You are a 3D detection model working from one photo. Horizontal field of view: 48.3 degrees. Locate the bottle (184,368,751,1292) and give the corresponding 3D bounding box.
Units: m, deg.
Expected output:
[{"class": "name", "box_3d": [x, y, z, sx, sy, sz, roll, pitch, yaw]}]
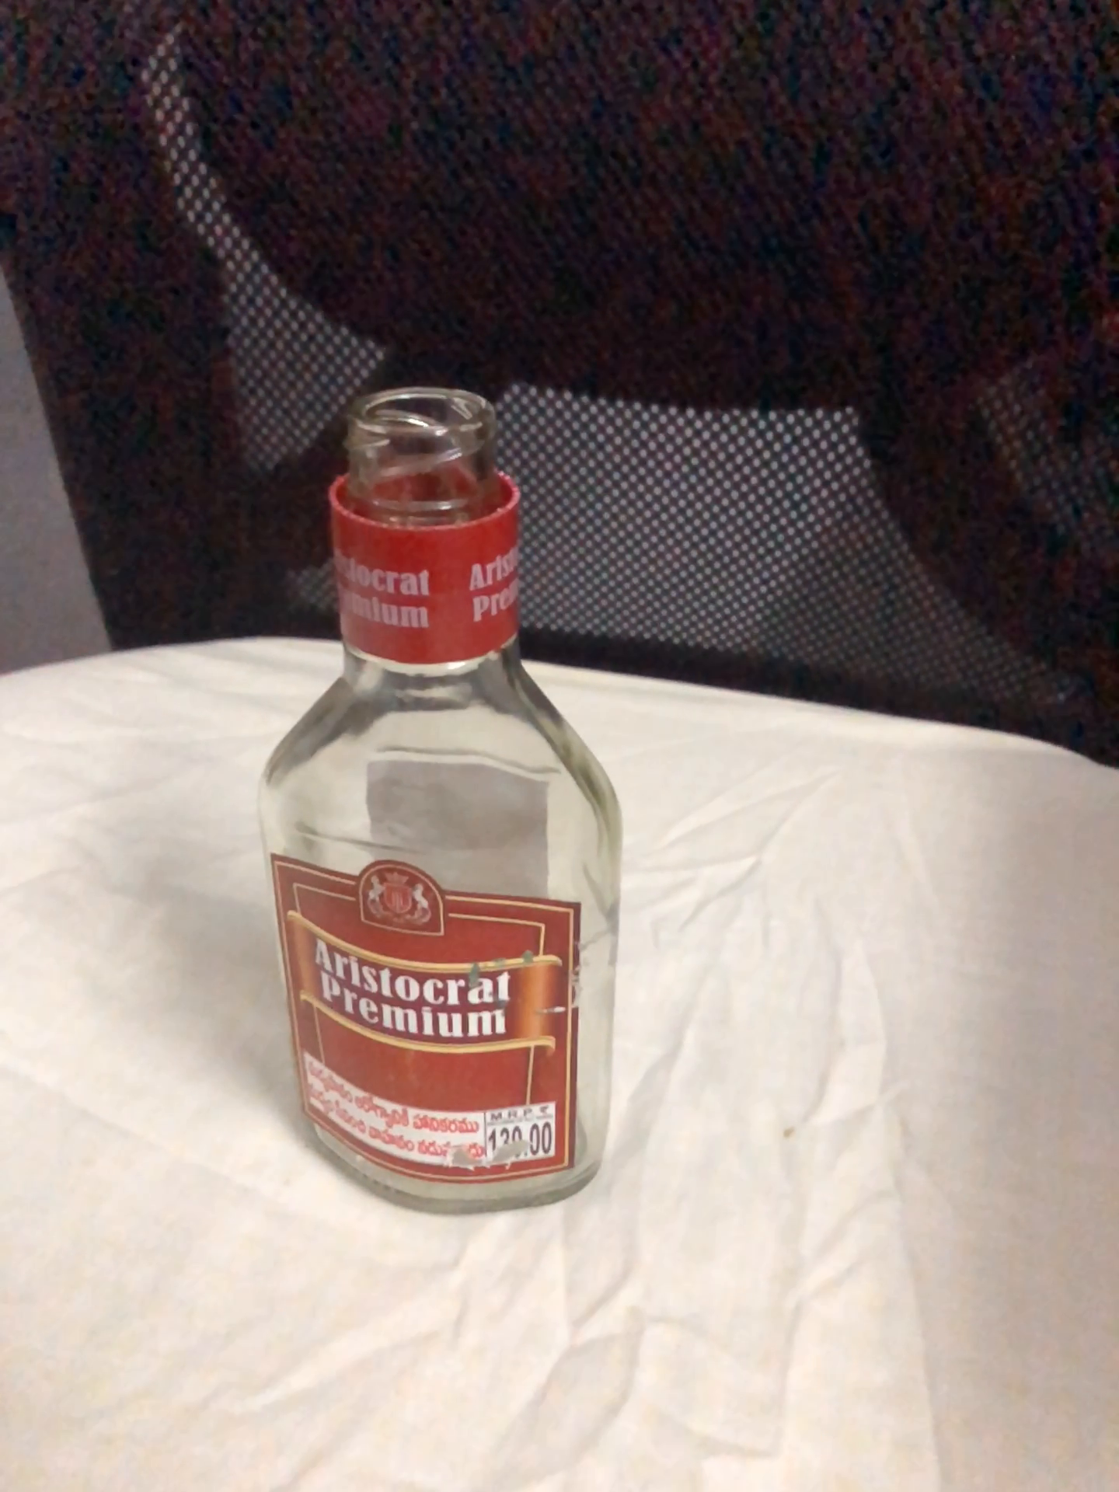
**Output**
[{"class": "bottle", "box_3d": [-0.015, 0.026, 0.244, 0.080, 0.179, 0.040, 9, 34, 10]}]
